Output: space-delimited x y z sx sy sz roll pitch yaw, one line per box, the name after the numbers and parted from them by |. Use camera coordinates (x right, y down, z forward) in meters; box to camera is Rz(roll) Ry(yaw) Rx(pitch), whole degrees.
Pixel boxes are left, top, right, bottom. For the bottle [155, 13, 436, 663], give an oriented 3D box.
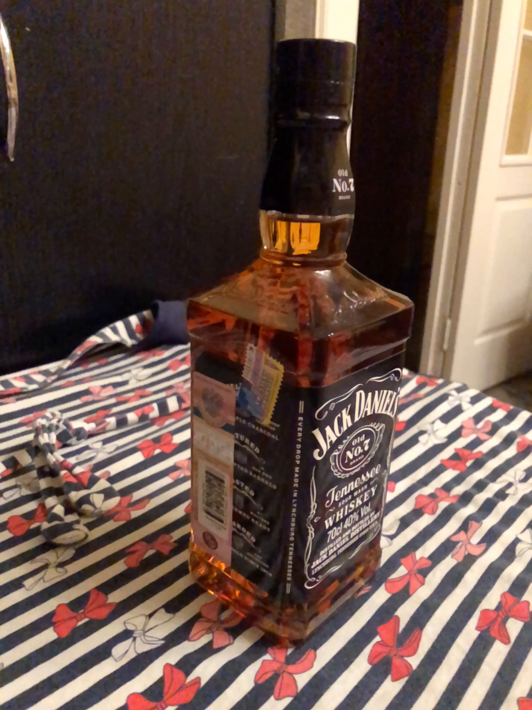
0.010 -0.001 0.261 0.073 0.246 0.074 1 20 0 | bottle
